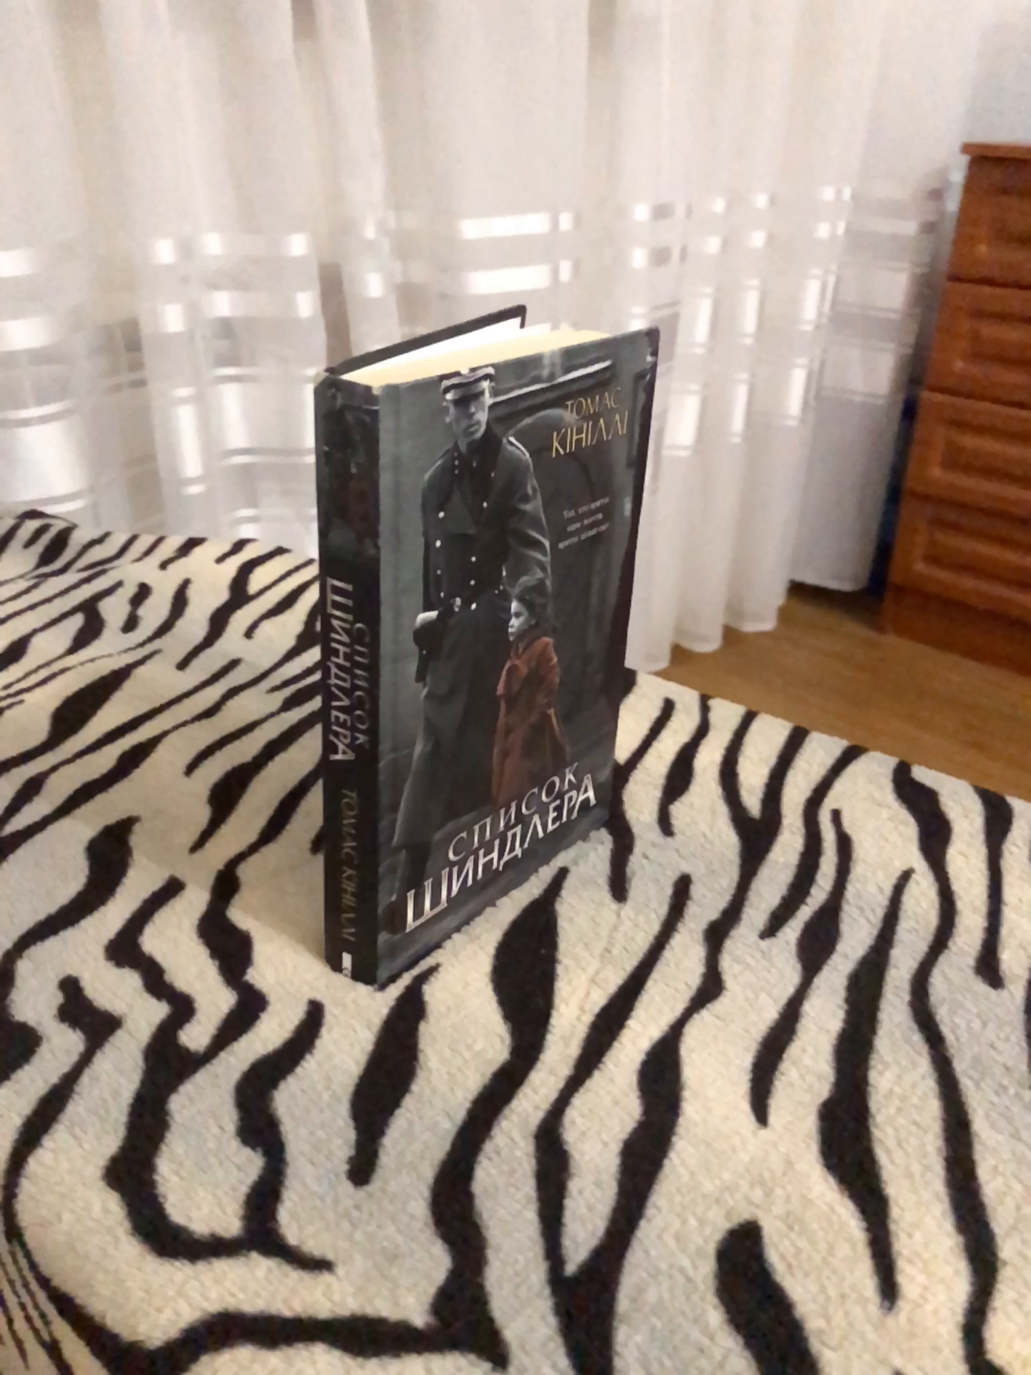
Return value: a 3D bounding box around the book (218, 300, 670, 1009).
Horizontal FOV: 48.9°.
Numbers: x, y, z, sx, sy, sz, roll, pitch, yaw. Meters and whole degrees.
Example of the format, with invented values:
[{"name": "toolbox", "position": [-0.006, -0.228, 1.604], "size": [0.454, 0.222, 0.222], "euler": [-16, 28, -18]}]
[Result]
[{"name": "book", "position": [-0.017, -0.018, 0.381], "size": [0.057, 0.191, 0.144], "euler": [20, 32, 30]}]
